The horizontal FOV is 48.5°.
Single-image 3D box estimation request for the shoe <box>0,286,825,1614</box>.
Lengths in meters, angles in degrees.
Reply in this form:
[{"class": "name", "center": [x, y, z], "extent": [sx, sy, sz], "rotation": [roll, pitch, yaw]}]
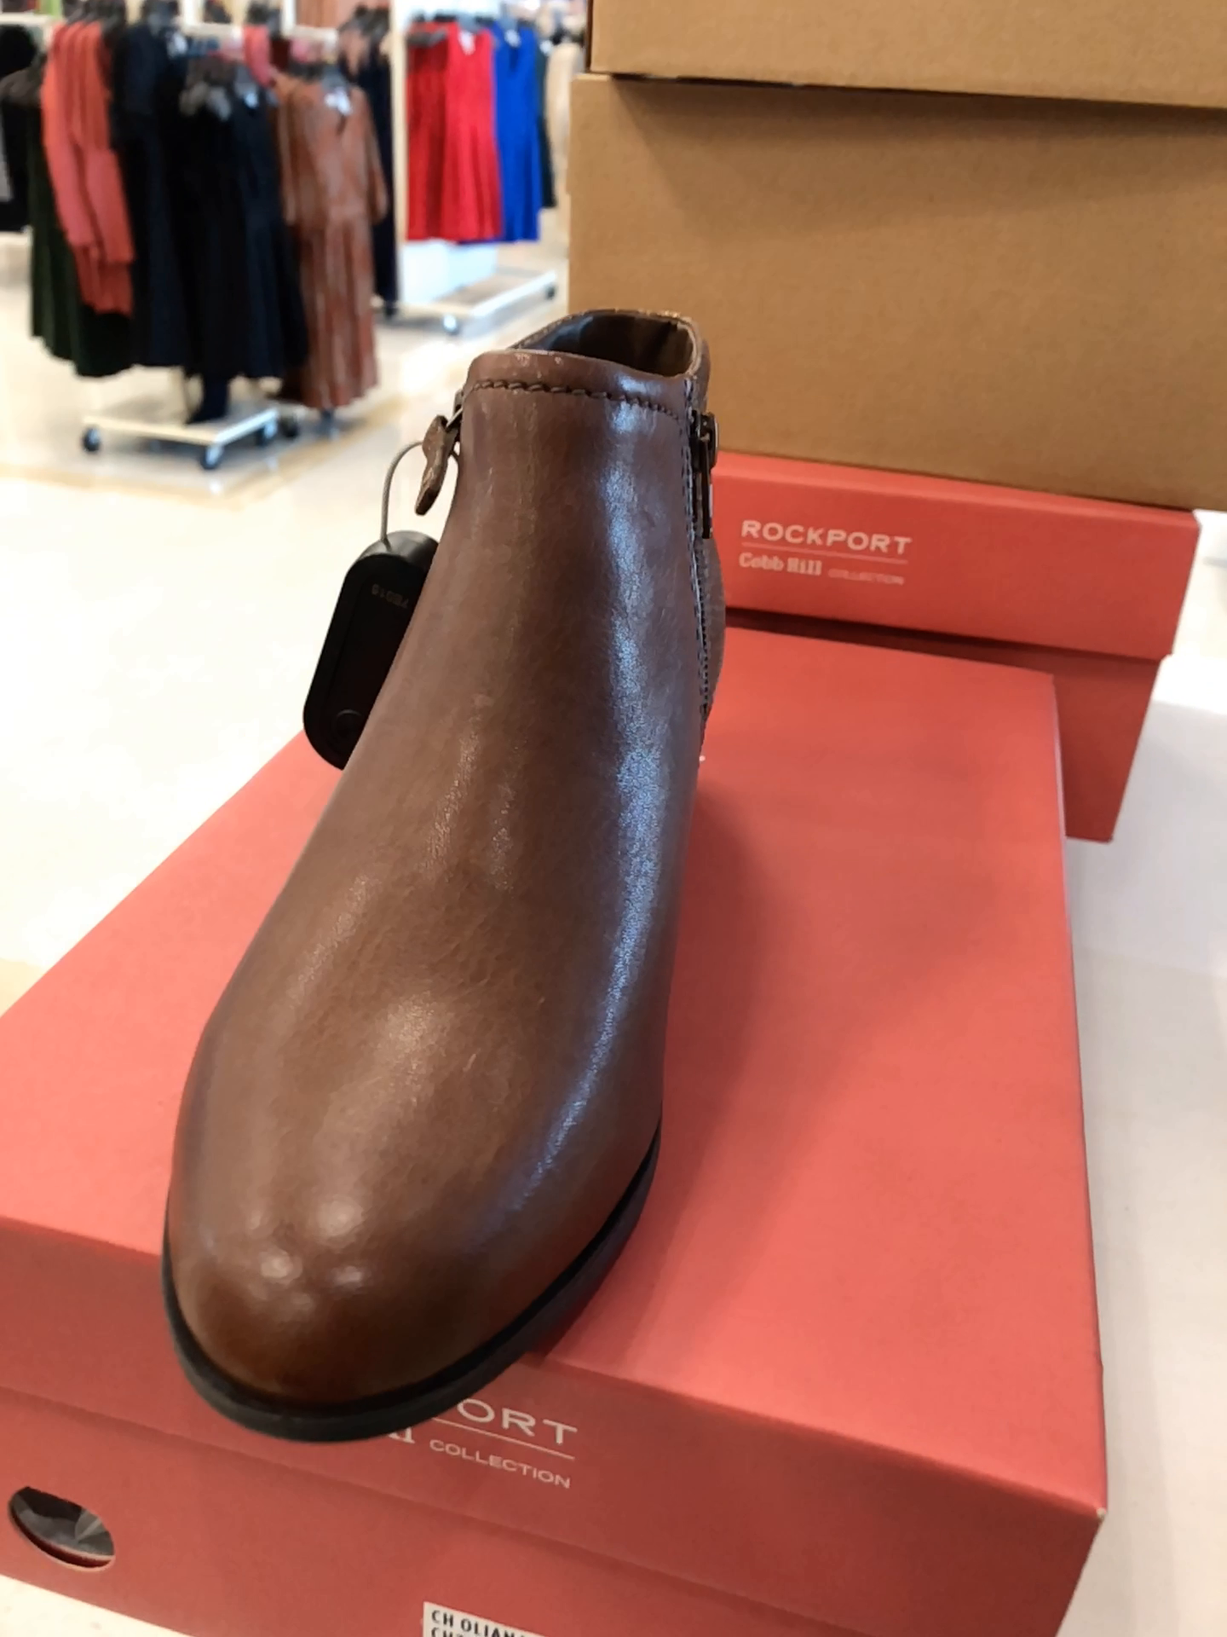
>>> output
[{"class": "shoe", "center": [-0.022, -0.021, 0.281], "extent": [0.101, 0.119, 0.282], "rotation": [8, 30, 7]}]
